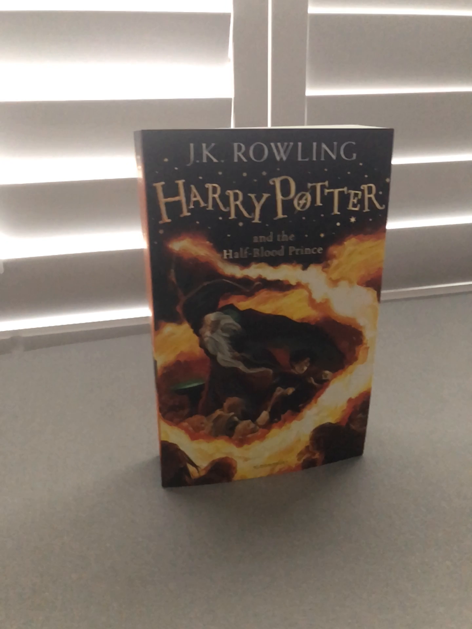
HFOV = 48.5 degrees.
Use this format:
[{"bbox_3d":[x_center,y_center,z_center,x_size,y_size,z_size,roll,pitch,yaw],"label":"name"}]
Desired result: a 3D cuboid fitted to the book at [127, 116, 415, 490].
[{"bbox_3d":[0.019,-0.008,0.301,0.141,0.194,0.047,-6,18,-12],"label":"book"}]
